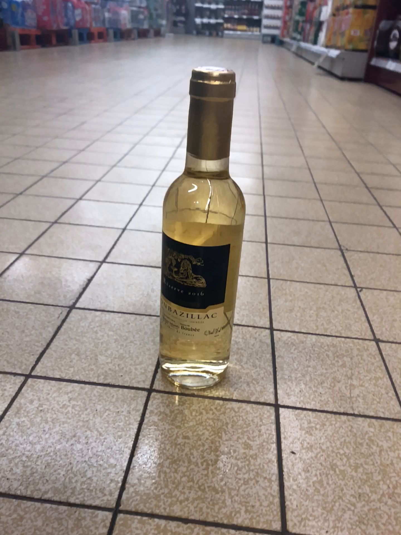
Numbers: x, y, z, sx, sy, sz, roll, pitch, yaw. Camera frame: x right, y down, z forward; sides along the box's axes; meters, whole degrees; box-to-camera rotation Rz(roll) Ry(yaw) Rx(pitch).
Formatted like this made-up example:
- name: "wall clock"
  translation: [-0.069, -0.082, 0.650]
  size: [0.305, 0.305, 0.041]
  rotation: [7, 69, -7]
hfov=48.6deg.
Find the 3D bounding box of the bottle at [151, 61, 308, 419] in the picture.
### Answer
- name: "bottle"
  translation: [0.013, -0.015, 0.322]
  size: [0.070, 0.239, 0.070]
  rotation: [3, 27, -1]
